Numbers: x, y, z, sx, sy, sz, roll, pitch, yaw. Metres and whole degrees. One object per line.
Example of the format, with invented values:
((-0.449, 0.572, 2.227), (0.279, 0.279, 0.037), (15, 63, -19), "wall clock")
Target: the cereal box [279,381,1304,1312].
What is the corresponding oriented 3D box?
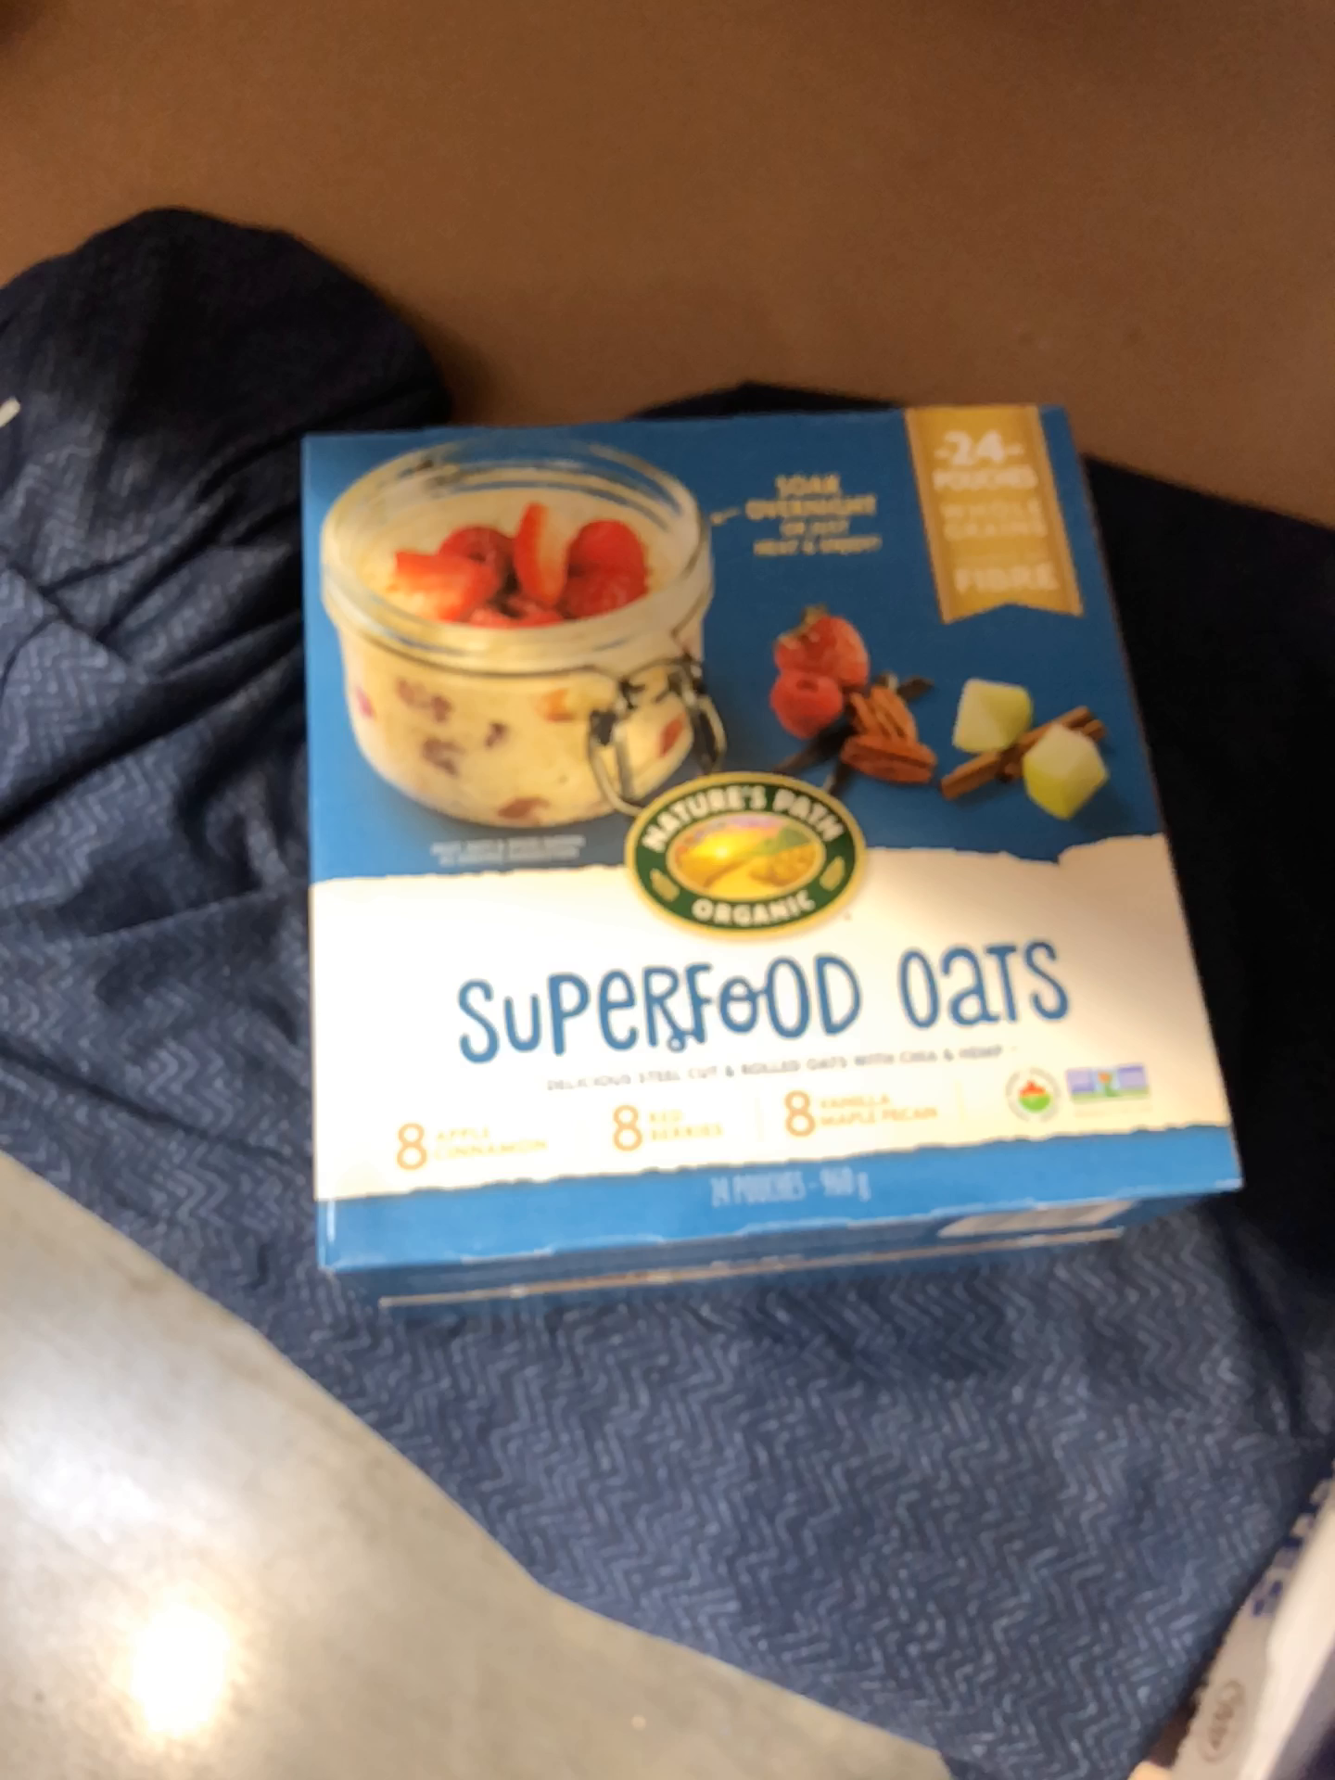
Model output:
((0.018, -0.010, 0.477), (0.250, 0.150, 0.240), (-4, 69, -7), "cereal box")
